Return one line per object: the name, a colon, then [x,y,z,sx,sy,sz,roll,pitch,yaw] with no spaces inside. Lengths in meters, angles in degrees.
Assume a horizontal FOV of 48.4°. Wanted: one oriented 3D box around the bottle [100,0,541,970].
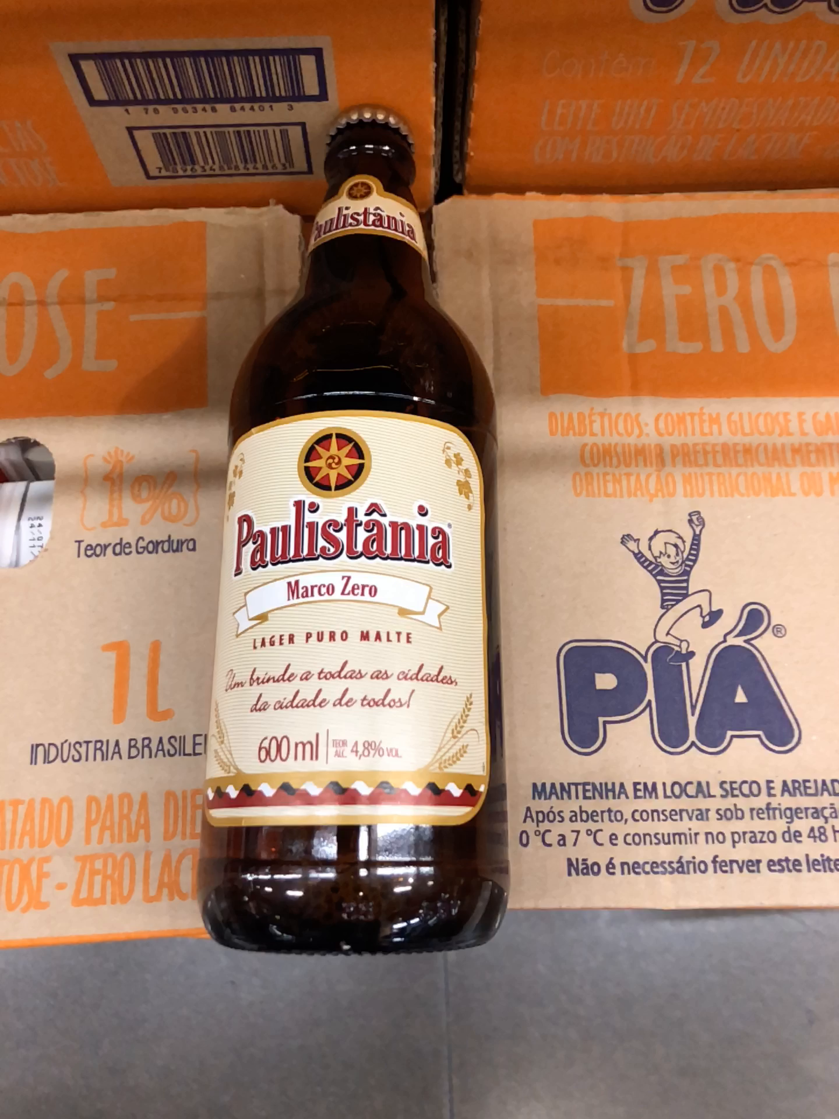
bottle: [-0.020,-0.037,0.234,0.080,0.050,0.251,-1,71,0]
